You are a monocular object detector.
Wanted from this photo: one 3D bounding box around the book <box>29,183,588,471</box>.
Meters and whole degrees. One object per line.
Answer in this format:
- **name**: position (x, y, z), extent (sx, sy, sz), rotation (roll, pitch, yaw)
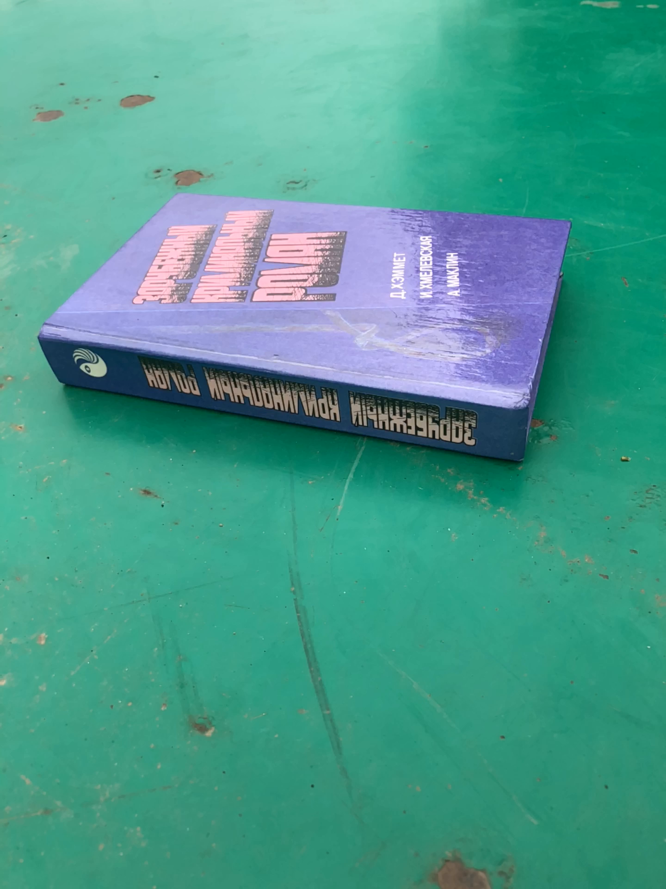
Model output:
- **book**: position (-0.003, -0.065, 0.330), extent (0.209, 0.030, 0.137), rotation (10, 46, 17)
